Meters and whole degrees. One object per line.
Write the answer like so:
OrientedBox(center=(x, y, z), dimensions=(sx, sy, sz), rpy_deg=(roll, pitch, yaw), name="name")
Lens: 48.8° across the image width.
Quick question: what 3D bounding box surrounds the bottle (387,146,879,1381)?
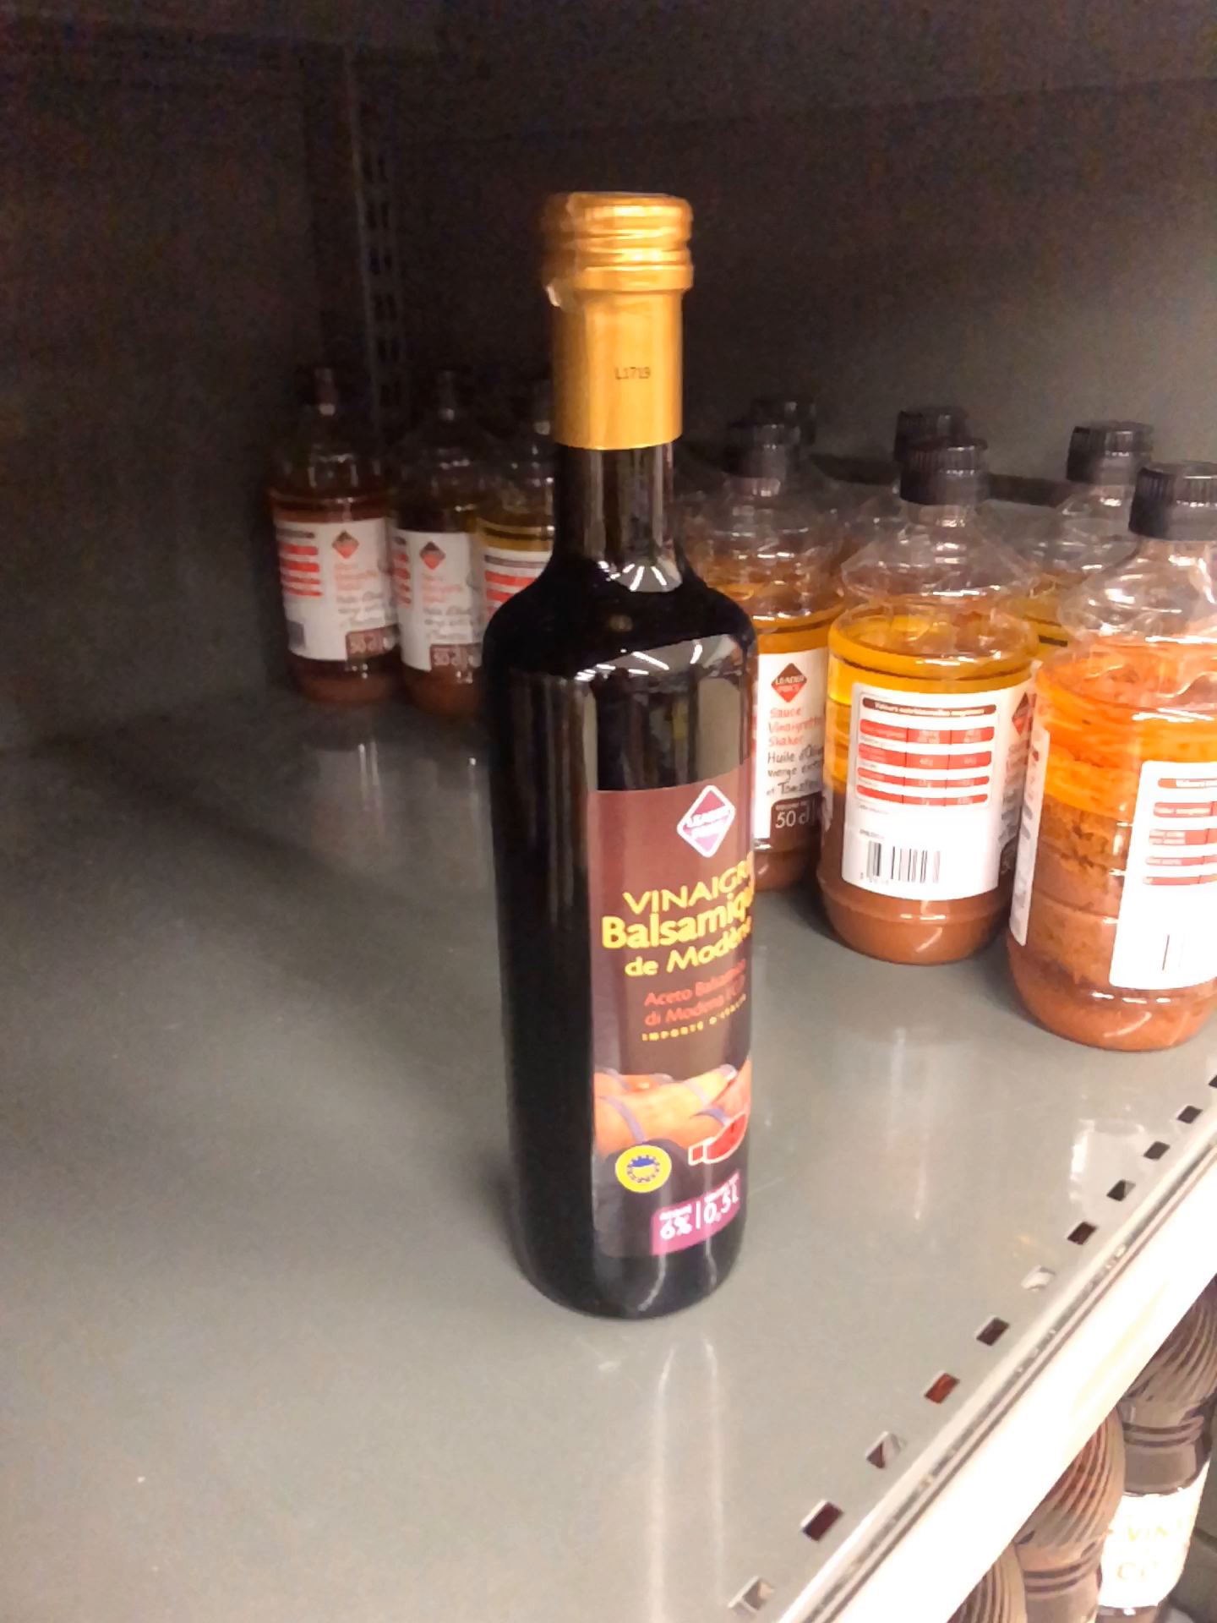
OrientedBox(center=(0.005, -0.006, 0.319), dimensions=(0.070, 0.269, 0.070), rpy_deg=(-1, 22, 0), name="bottle")
